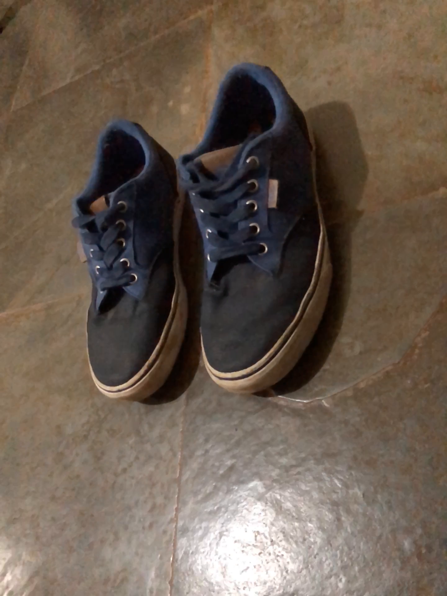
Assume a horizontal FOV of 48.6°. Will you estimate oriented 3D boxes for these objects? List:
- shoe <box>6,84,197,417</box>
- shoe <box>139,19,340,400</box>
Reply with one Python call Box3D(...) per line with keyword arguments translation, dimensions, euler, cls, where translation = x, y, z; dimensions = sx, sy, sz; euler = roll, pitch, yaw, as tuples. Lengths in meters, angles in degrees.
Box3D(translation=(-0.097, -0.046, 0.450), dimensions=(0.110, 0.080, 0.281), euler=(-13, 59, 26), cls="shoe")
Box3D(translation=(0.026, -0.072, 0.399), dimensions=(0.110, 0.080, 0.291), euler=(-7, 62, 29), cls="shoe")
